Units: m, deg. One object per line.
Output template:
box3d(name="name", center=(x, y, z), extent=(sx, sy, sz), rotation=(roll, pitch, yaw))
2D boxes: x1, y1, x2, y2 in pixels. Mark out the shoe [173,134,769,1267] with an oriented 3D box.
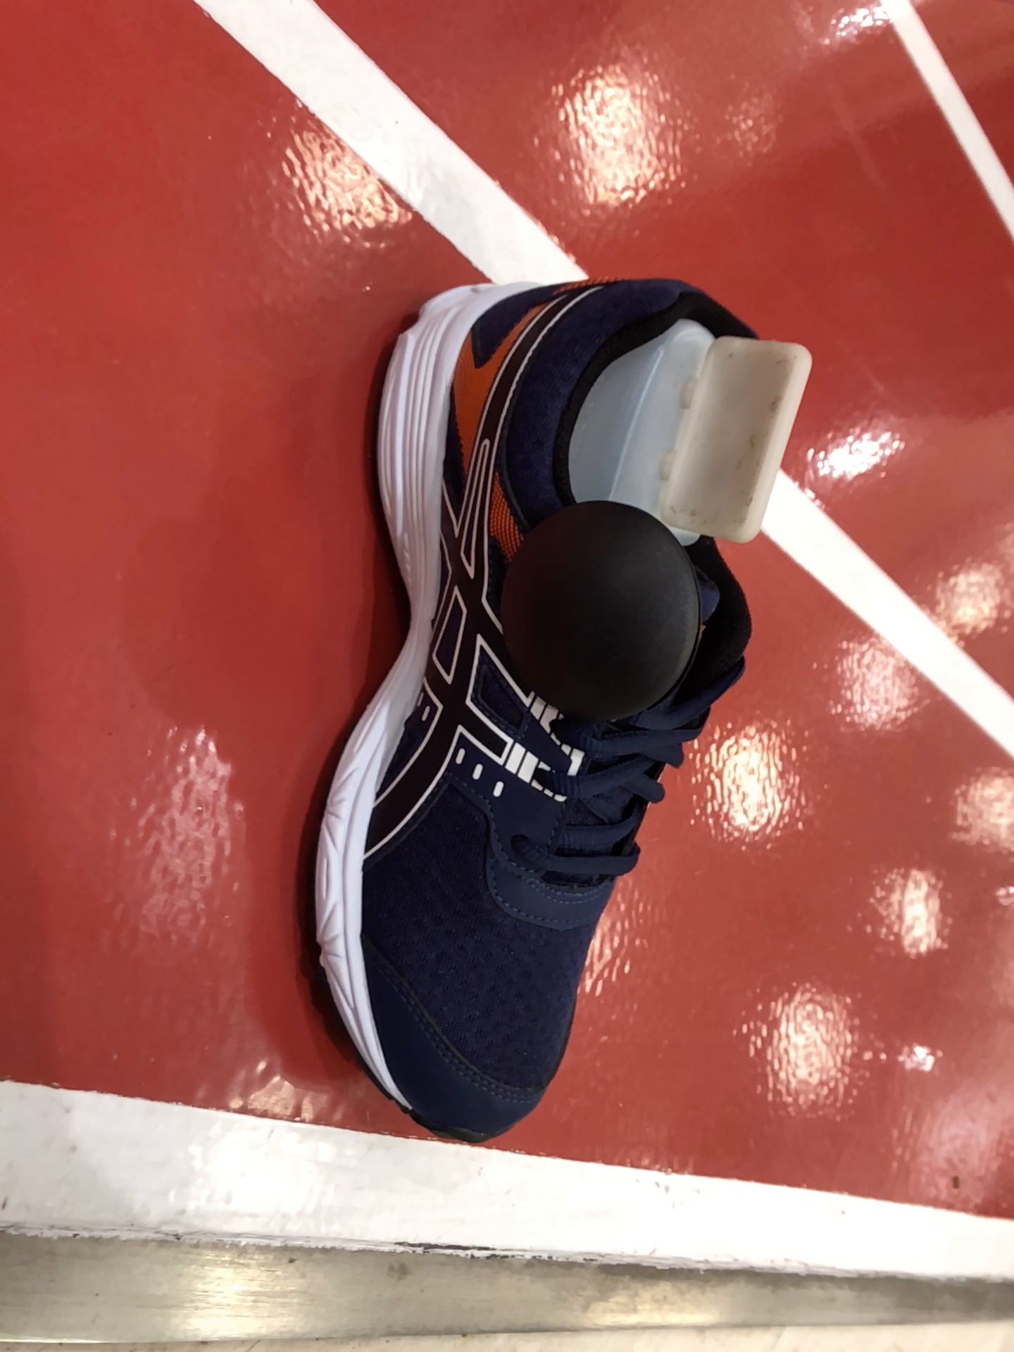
box3d(name="shoe", center=(-0.005, 0.006, 0.306), extent=(0.101, 0.099, 0.240), rotation=(13, 79, -45))
